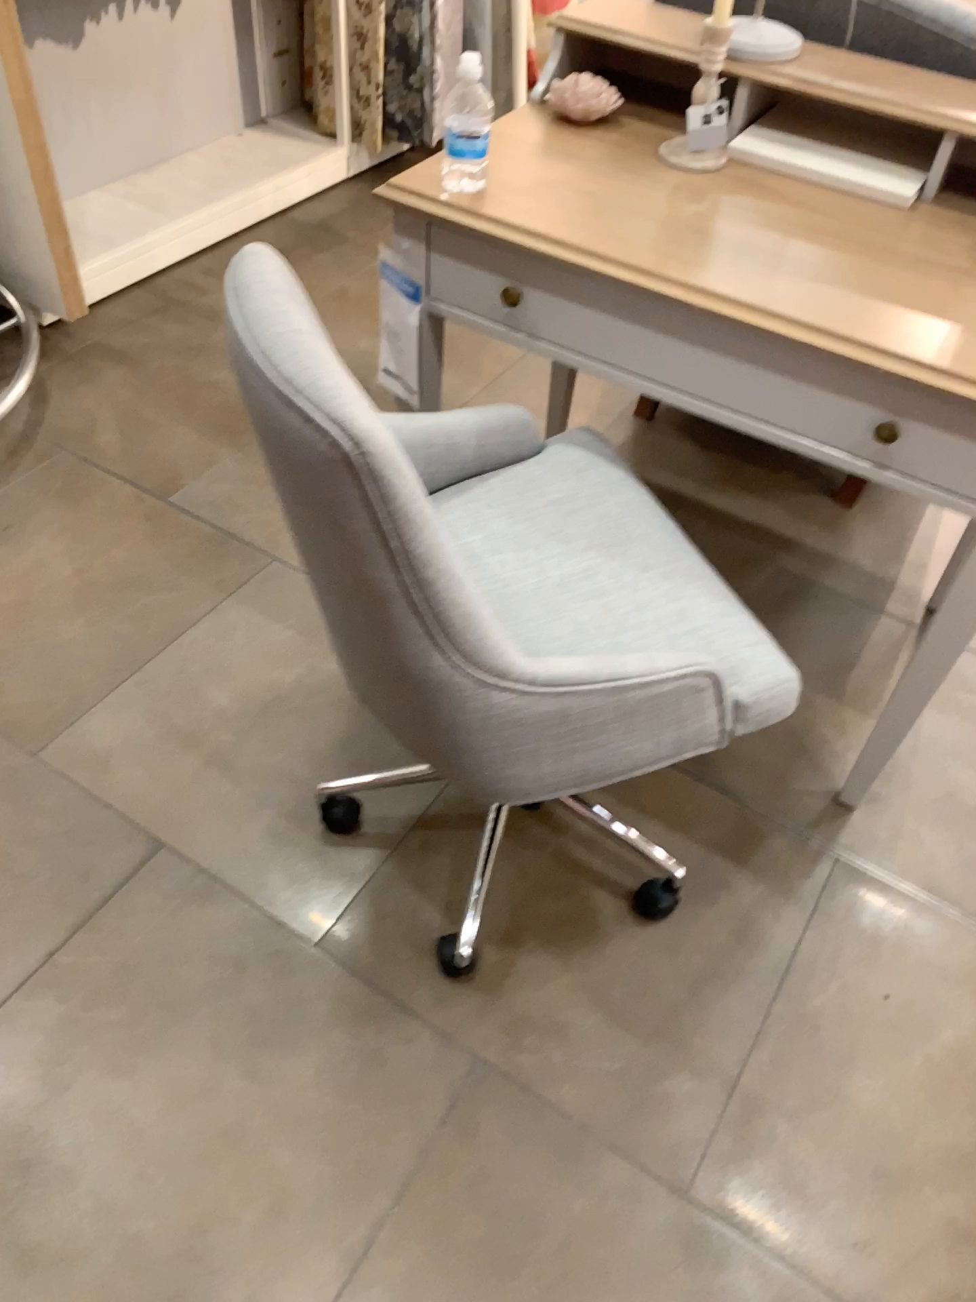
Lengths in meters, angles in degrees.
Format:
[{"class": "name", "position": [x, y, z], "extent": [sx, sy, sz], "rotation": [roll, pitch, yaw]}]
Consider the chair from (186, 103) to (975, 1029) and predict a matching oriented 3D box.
[{"class": "chair", "position": [0.060, -0.095, 1.291], "extent": [0.636, 0.891, 0.629], "rotation": [-14, 49, -17]}]
